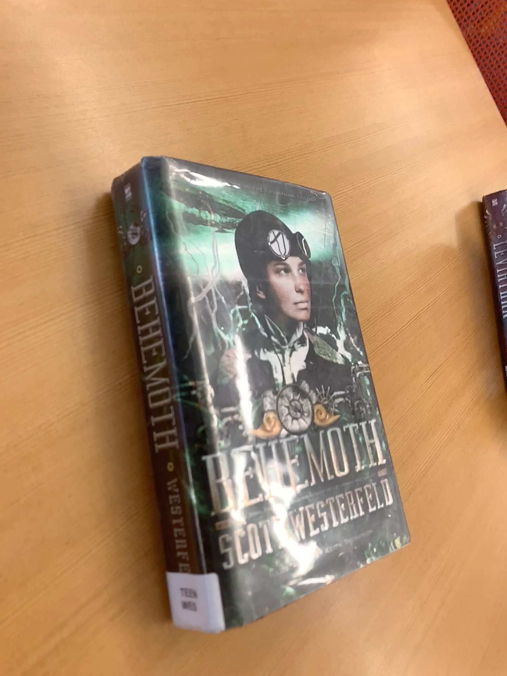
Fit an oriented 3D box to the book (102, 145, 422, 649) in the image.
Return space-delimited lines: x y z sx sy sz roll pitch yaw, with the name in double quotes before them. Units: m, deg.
"book" 0.007 0.021 0.310 0.151 0.050 0.241 -3 77 -39
